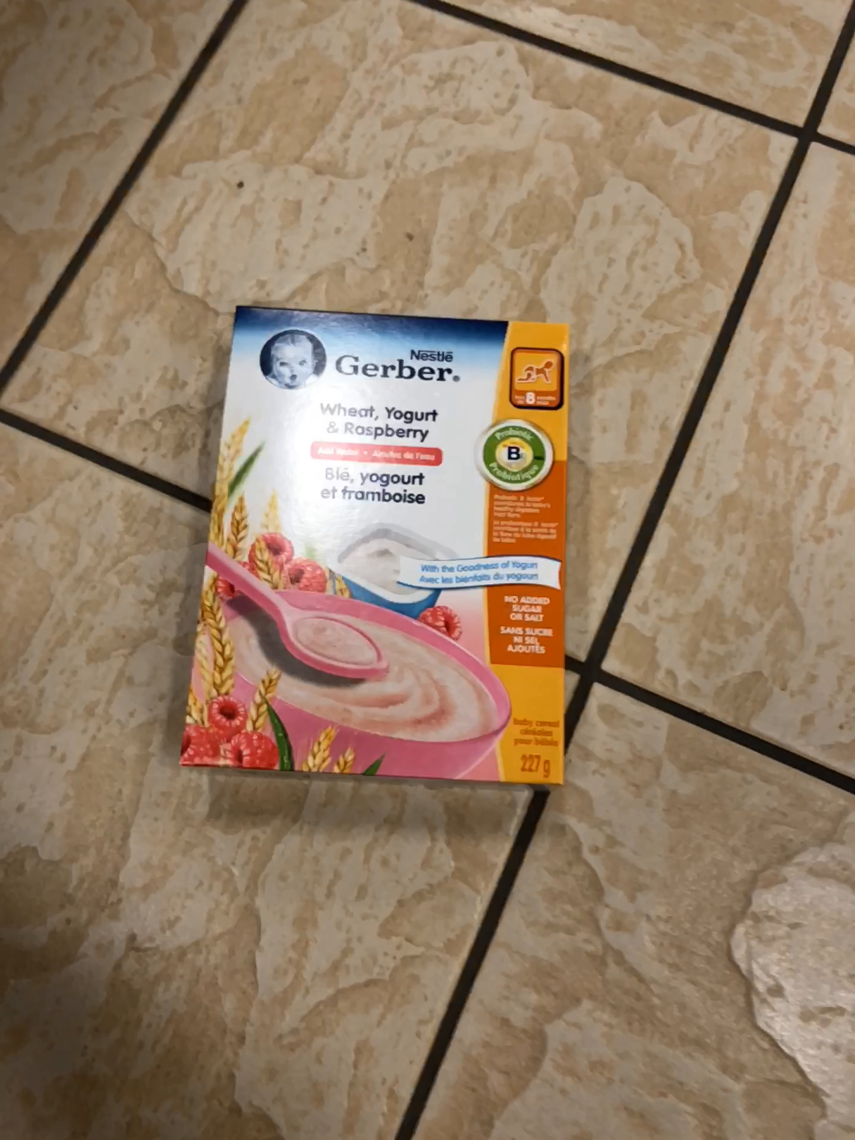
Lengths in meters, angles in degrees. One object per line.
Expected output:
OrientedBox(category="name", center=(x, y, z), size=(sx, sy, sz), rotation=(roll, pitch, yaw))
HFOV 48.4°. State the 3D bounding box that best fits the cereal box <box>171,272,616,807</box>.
OrientedBox(category="cereal box", center=(-0.007, -0.015, 0.397), size=(0.160, 0.050, 0.210), rotation=(3, 73, 1))
